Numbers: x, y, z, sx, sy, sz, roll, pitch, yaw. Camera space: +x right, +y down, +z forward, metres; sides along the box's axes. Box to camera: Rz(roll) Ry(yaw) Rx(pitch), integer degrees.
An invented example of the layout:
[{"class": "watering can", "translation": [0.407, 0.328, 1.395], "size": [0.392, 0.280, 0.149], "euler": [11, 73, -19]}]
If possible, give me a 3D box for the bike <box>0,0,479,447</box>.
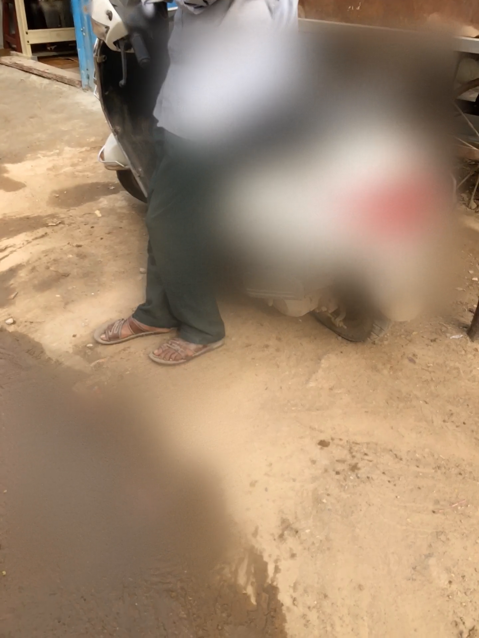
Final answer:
[{"class": "bike", "translation": [-0.201, -0.564, 1.732], "size": [0.659, 1.112, 1.578], "euler": [-24, 41, -32]}]
